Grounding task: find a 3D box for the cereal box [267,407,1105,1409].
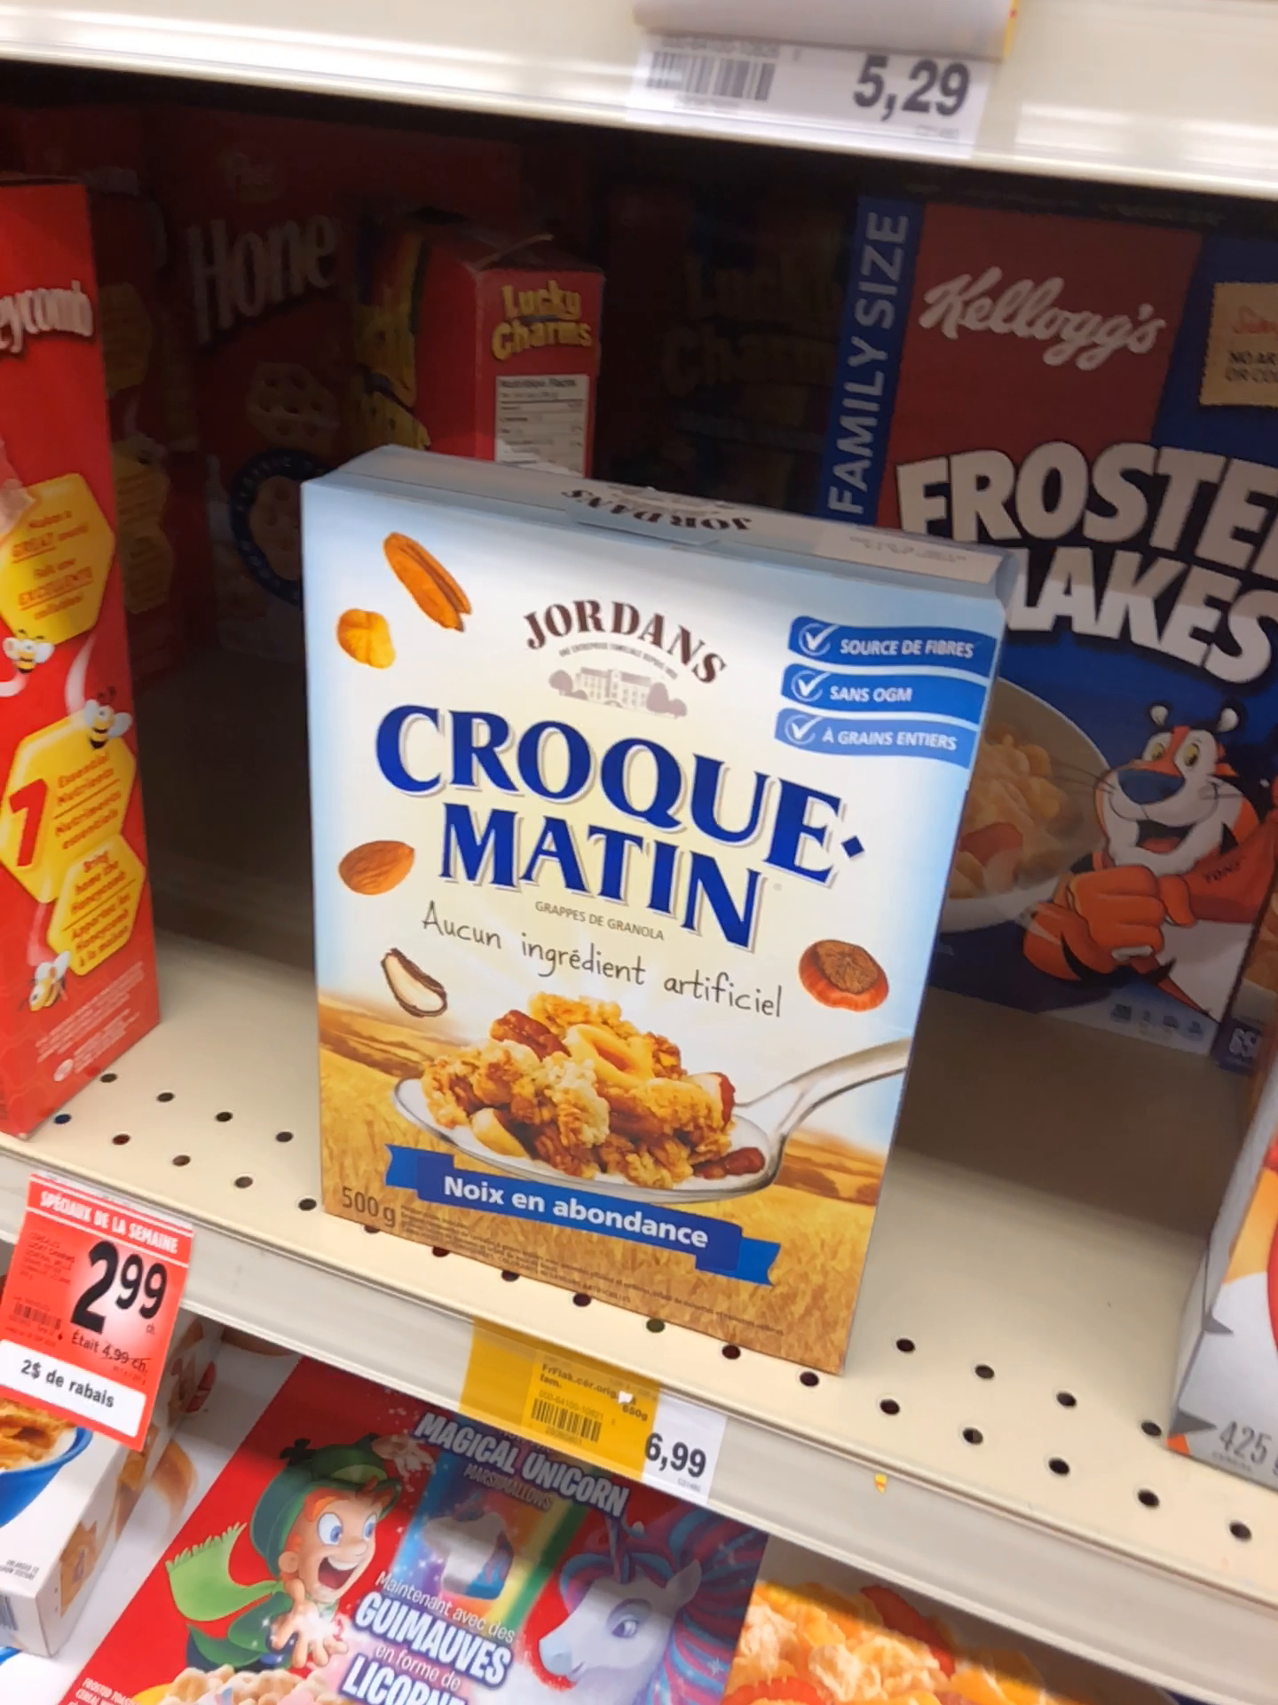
[{"bbox_3d":[0.000,0.023,0.407,0.200,0.258,0.050,13,30,13],"label":"cereal box"}]
